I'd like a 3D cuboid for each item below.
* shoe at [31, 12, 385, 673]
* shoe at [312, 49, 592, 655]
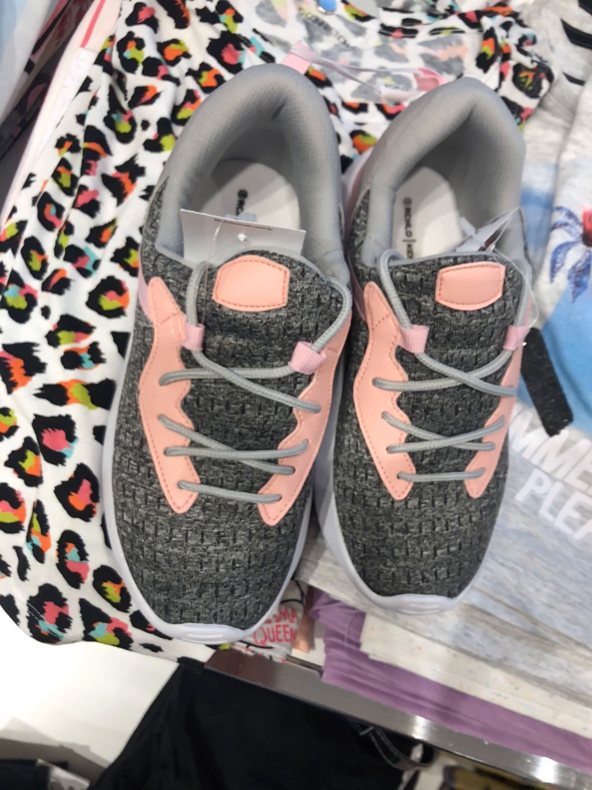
[{"bbox_3d":[-0.030,-0.016,0.274,0.100,0.100,0.220,5,81,-7],"label":"shoe"},{"bbox_3d":[0.066,-0.013,0.281,0.100,0.100,0.210,2,81,-8],"label":"shoe"}]
